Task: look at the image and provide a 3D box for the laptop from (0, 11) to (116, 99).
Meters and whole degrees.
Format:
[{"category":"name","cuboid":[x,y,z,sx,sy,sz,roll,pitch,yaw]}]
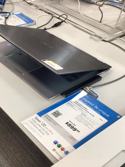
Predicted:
[{"category":"laptop","cuboid":[-0.066,-0.107,0.499,0.209,0.075,0.320,-36,60,-29]}]
